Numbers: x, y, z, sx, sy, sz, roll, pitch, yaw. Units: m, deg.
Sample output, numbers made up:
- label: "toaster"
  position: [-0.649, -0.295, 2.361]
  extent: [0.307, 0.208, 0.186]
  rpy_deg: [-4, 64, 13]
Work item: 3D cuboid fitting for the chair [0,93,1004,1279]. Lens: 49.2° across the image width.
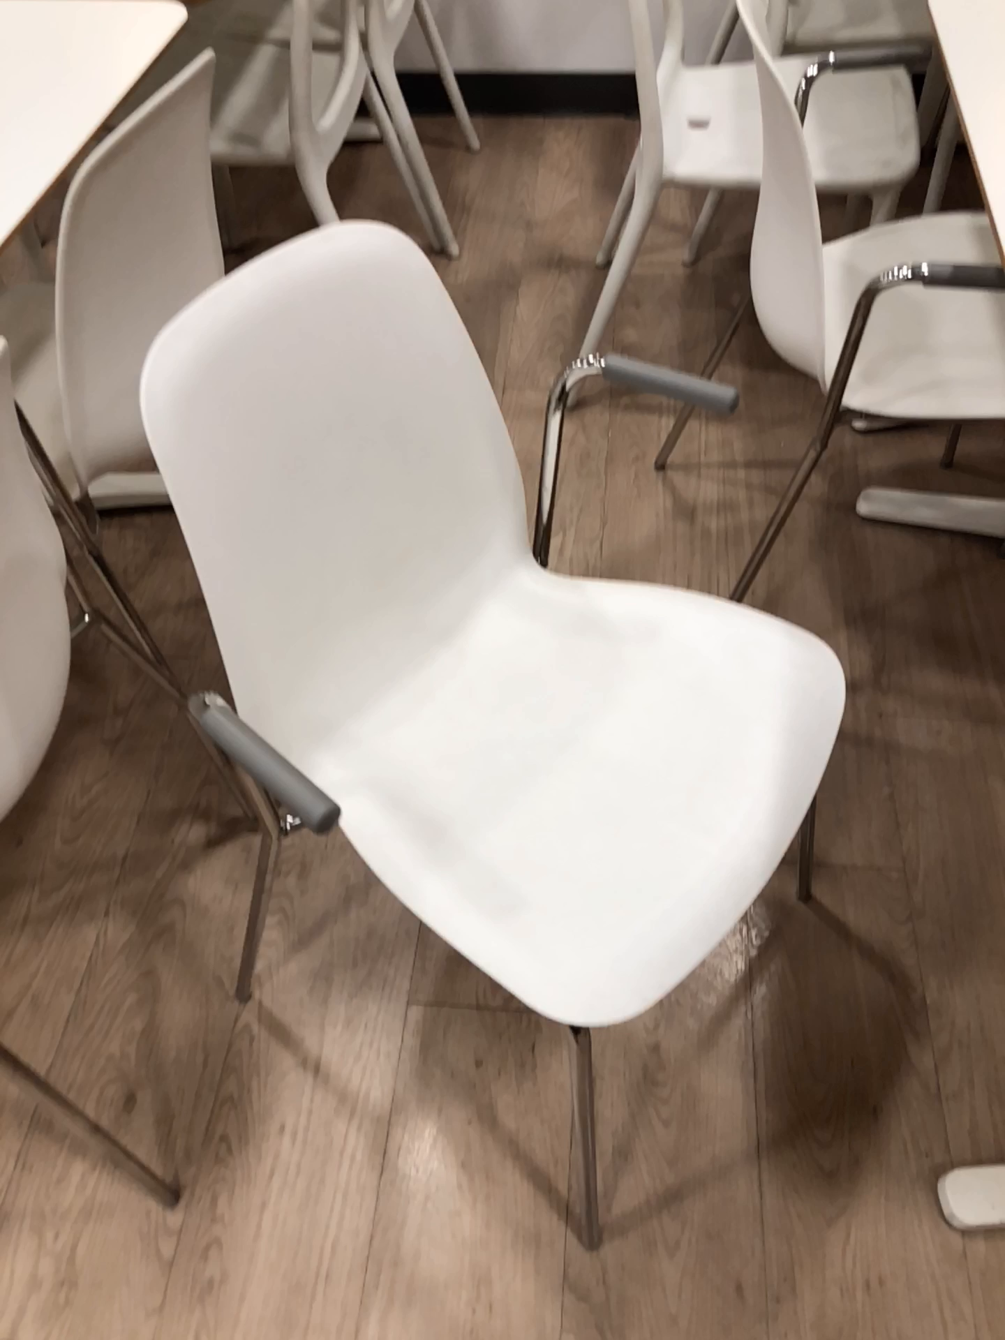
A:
- label: "chair"
  position: [0.033, 0.045, 1.026]
  extent: [0.532, 0.805, 0.571]
  rpy_deg: [29, 57, 24]
